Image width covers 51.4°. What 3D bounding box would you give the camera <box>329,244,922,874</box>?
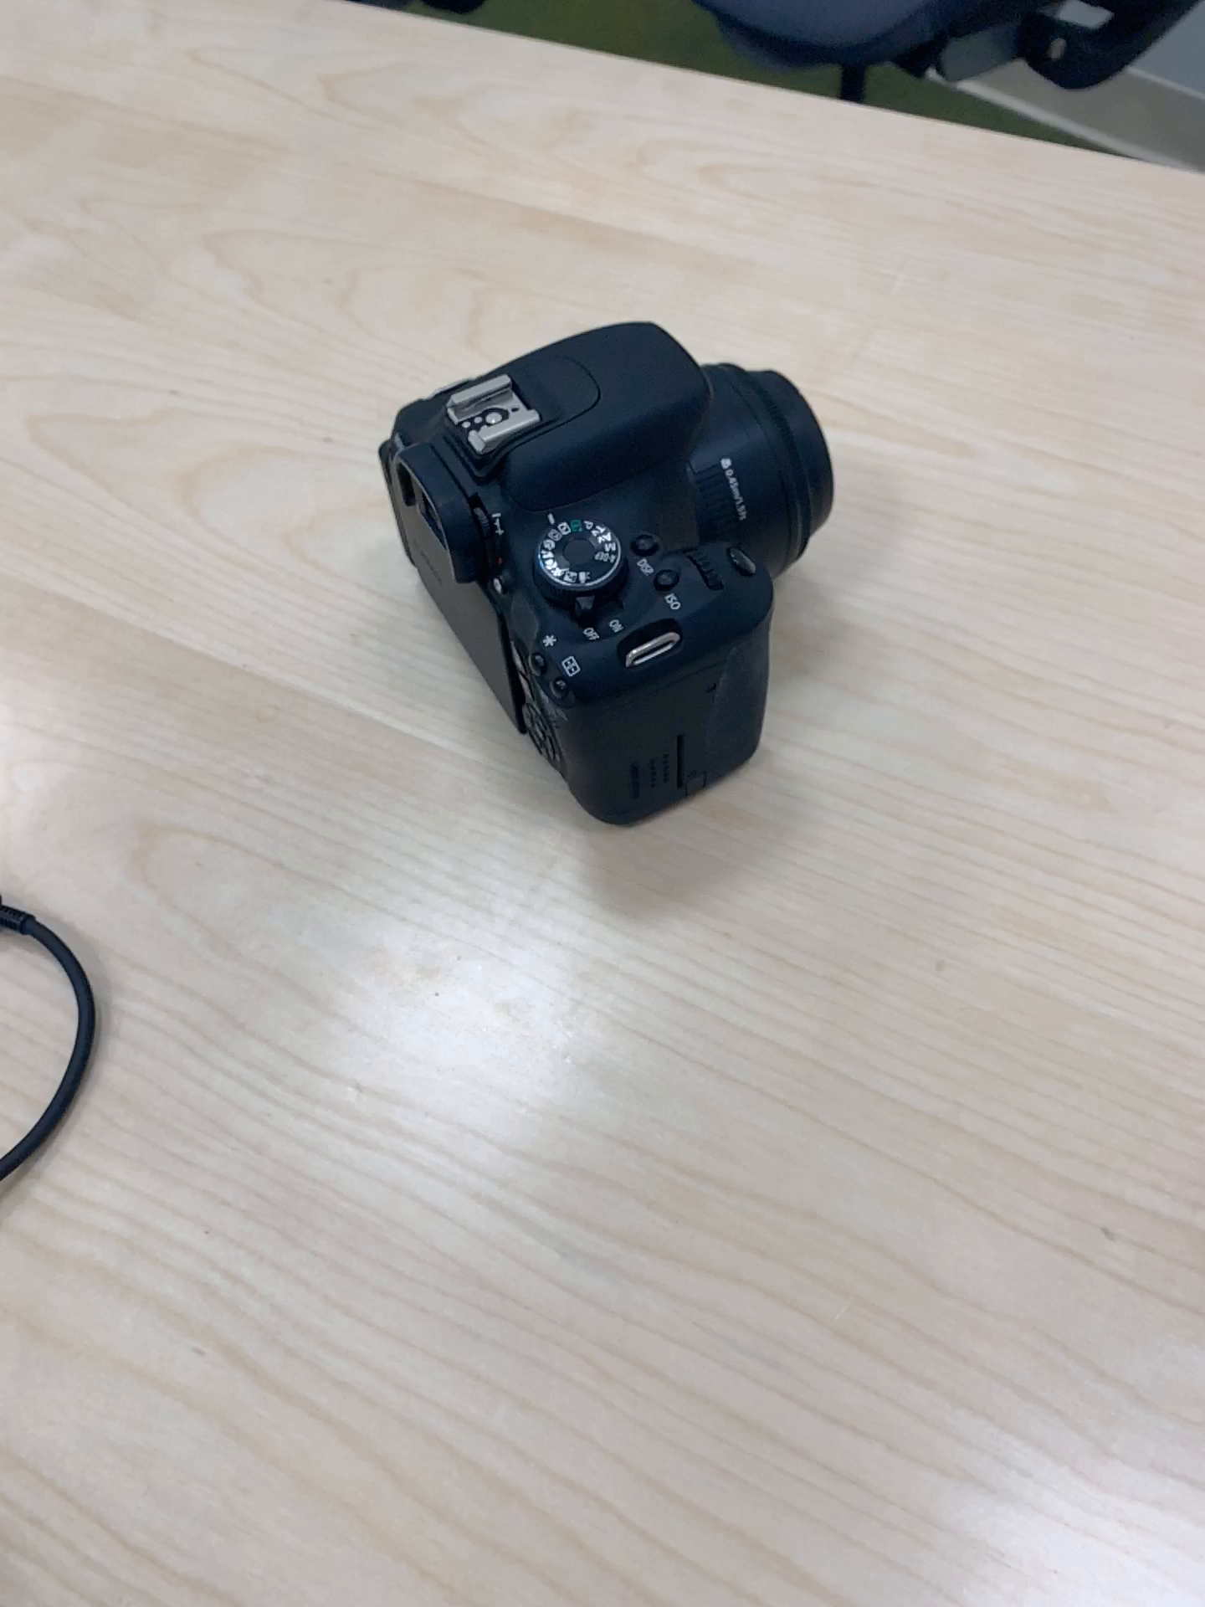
[{"bbox_3d":[0.005,-0.077,0.393,0.118,0.100,0.130,-26,59,-12],"label":"camera"}]
